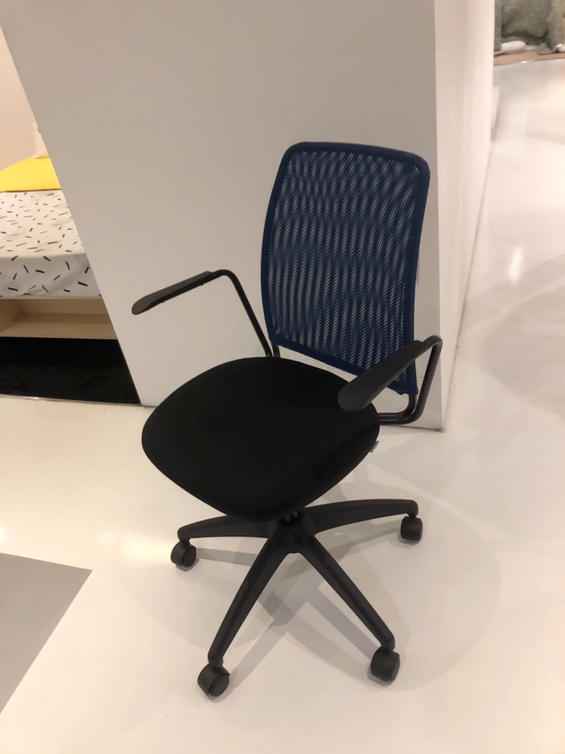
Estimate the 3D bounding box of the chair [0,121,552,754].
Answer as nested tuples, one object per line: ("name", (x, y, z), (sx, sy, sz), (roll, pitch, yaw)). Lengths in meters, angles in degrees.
("chair", (-0.011, 0.104, 1.201), (0.702, 0.923, 0.663), (-34, 40, -29))
